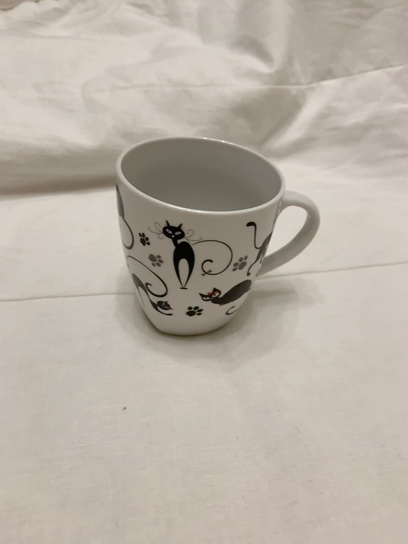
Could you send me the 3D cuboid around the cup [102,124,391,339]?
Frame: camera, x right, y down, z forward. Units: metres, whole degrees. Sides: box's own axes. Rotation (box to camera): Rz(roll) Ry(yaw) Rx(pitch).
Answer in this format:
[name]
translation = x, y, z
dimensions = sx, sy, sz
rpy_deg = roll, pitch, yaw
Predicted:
[cup]
translation = 0.013, -0.021, 0.227
dimensions = 0.118, 0.077, 0.081
rpy_deg = 1, 41, -6
